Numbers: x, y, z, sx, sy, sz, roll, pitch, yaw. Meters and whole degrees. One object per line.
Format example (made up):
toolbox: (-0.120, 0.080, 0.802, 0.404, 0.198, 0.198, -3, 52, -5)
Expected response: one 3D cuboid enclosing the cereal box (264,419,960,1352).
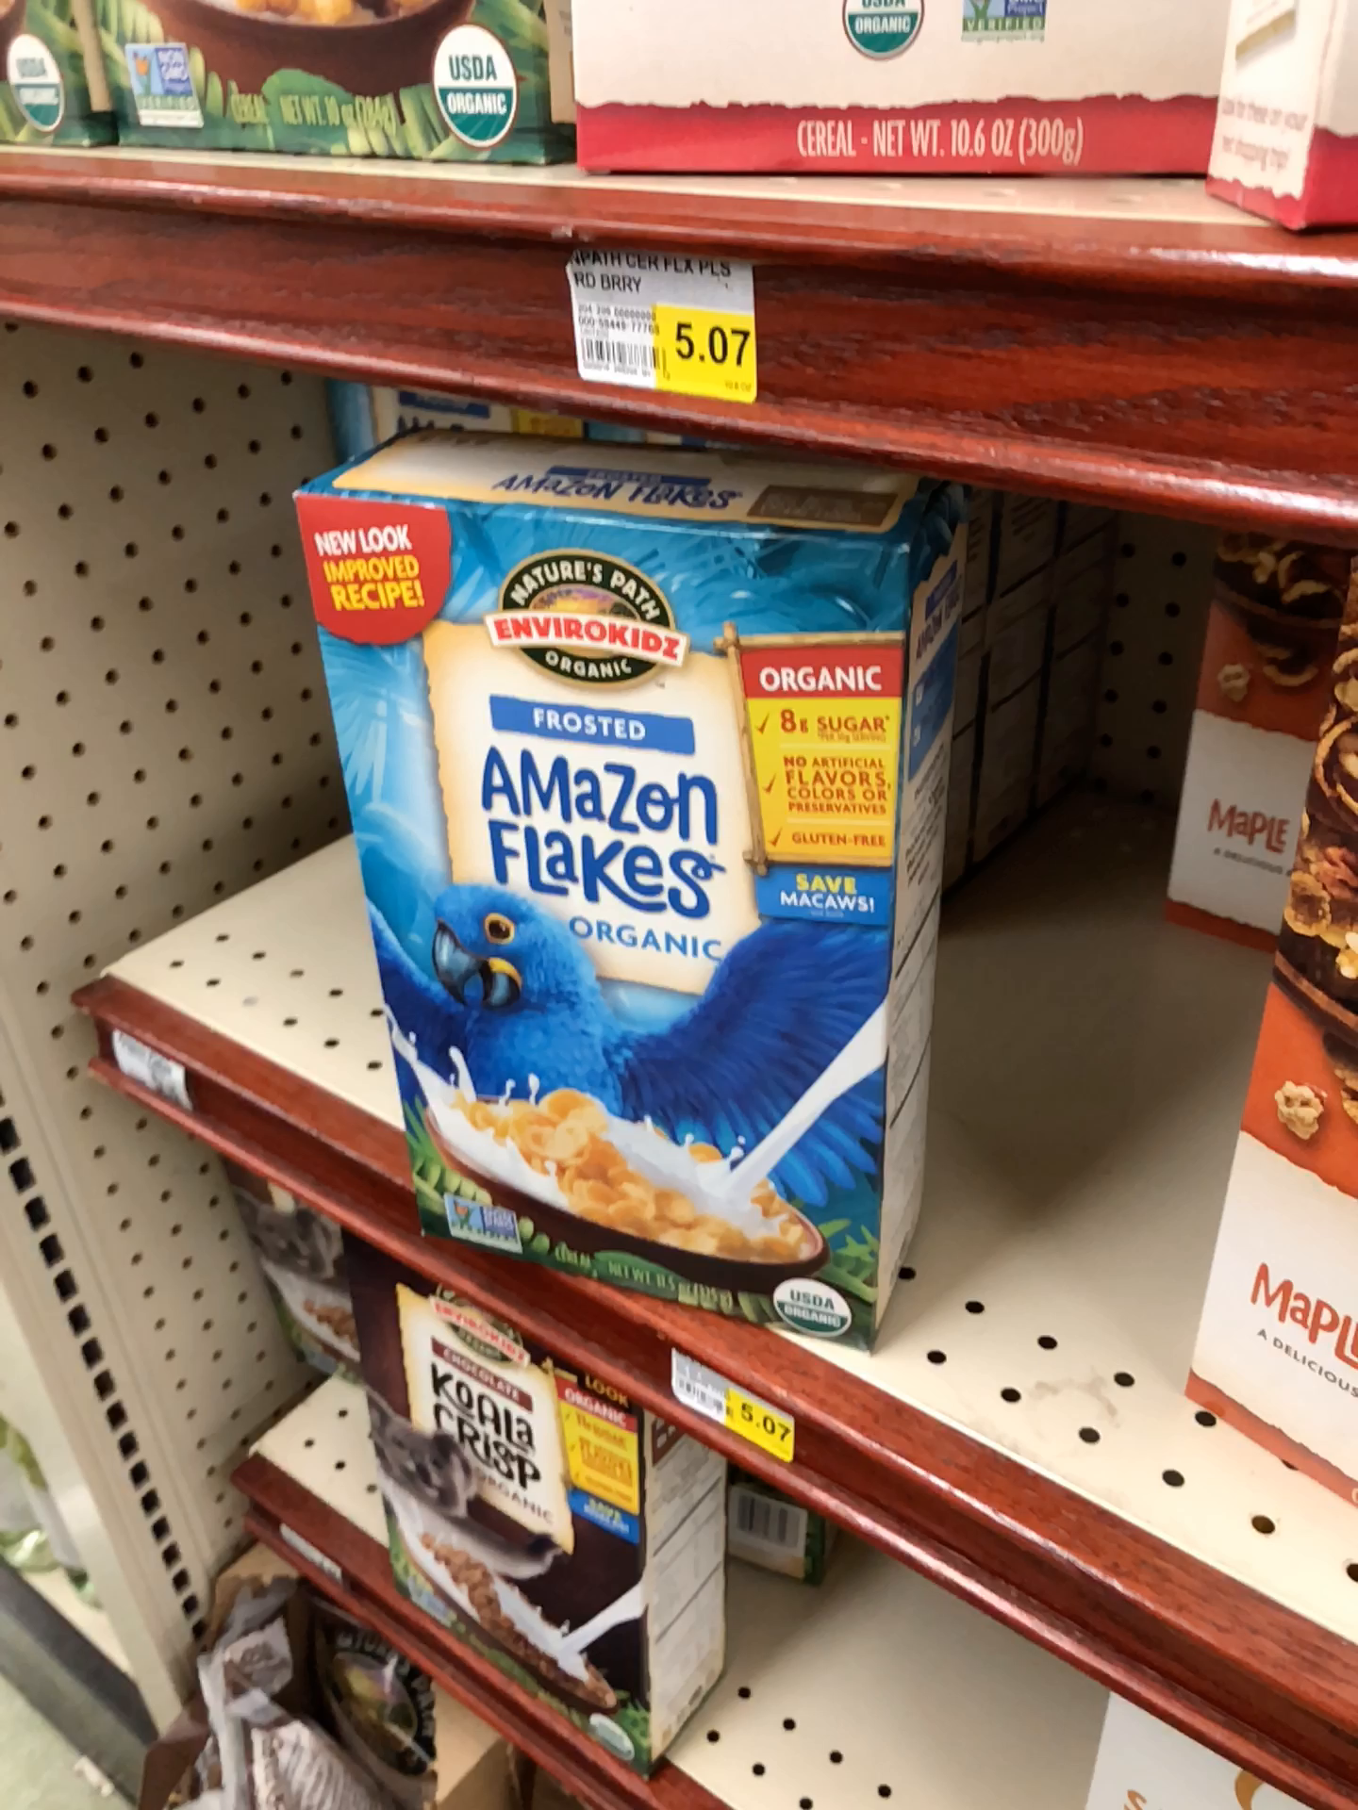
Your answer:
cereal box: (-0.009, 0.001, 0.440, 0.160, 0.259, 0.060, 9, 36, 20)
